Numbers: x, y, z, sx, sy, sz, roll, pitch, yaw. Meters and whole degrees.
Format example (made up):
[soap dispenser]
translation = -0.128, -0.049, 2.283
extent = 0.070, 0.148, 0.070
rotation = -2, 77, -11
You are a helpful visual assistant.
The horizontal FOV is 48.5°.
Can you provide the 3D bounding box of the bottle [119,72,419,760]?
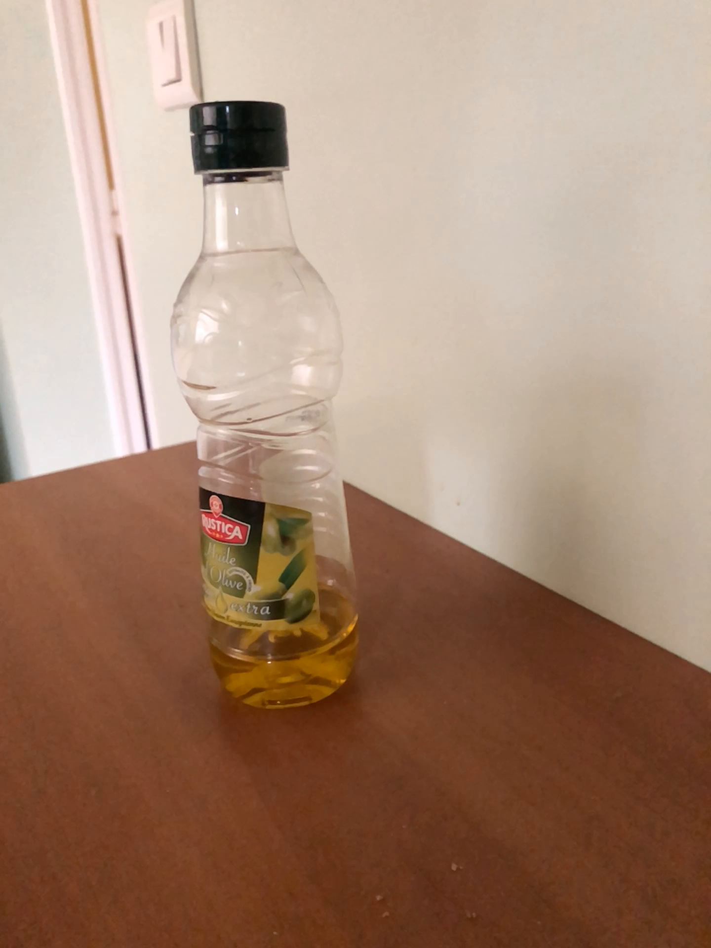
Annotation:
[bottle]
translation = -0.026, -0.019, 0.310
extent = 0.070, 0.239, 0.070
rotation = -2, 20, 1
